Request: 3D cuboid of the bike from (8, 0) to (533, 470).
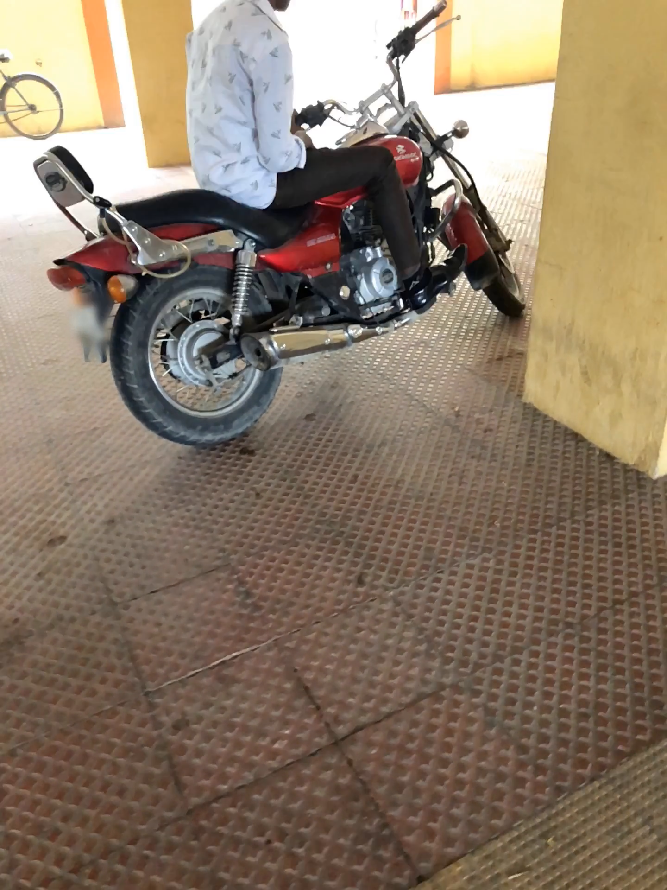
[{"bbox_3d":[-0.078,-0.981,2.434,0.757,1.049,1.656,21,44,33],"label":"bike"}]
